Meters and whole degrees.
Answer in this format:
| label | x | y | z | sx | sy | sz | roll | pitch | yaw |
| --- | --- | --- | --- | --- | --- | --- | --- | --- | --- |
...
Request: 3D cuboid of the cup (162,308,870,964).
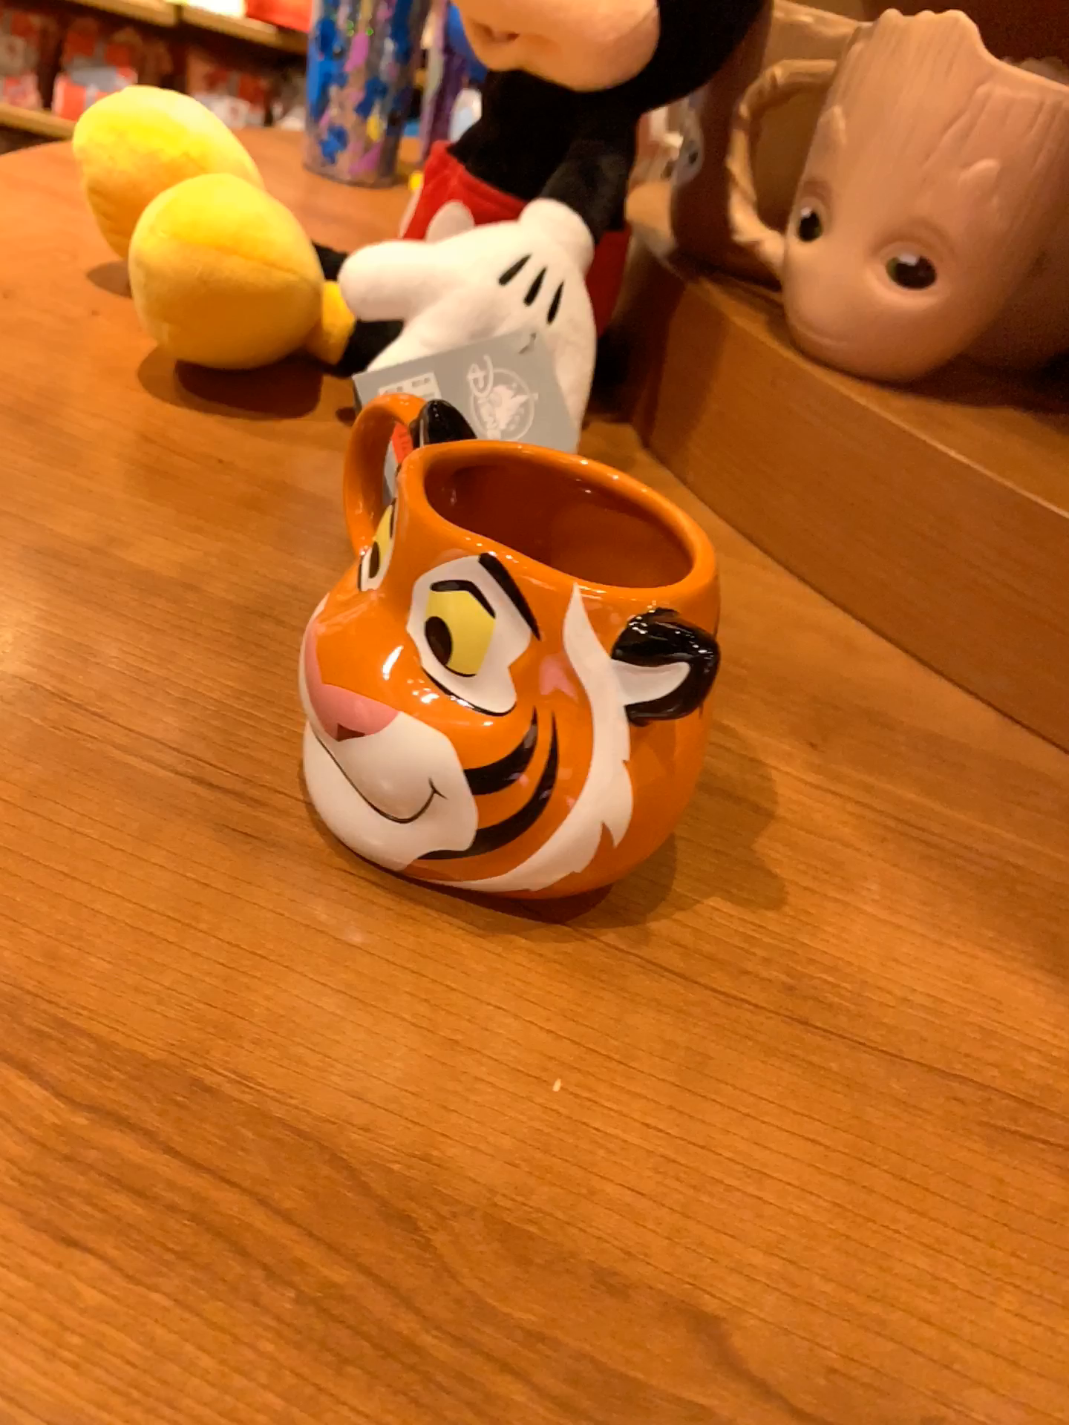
| label | x | y | z | sx | sy | sz | roll | pitch | yaw |
| --- | --- | --- | --- | --- | --- | --- | --- | --- | --- |
| cup | -0.017 | -0.032 | 0.293 | 0.106 | 0.086 | 0.150 | -9 | 41 | -36 |
